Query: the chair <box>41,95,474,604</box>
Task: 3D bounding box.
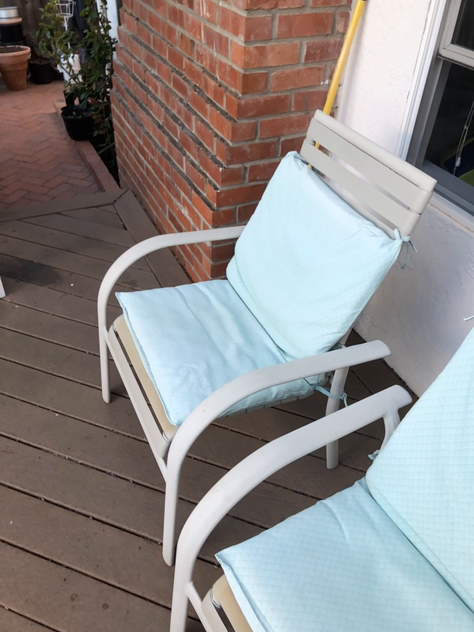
[{"bbox_3d":[0.106,0.045,1.497,0.971,0.994,0.743,-16,44,-21],"label":"chair"}]
